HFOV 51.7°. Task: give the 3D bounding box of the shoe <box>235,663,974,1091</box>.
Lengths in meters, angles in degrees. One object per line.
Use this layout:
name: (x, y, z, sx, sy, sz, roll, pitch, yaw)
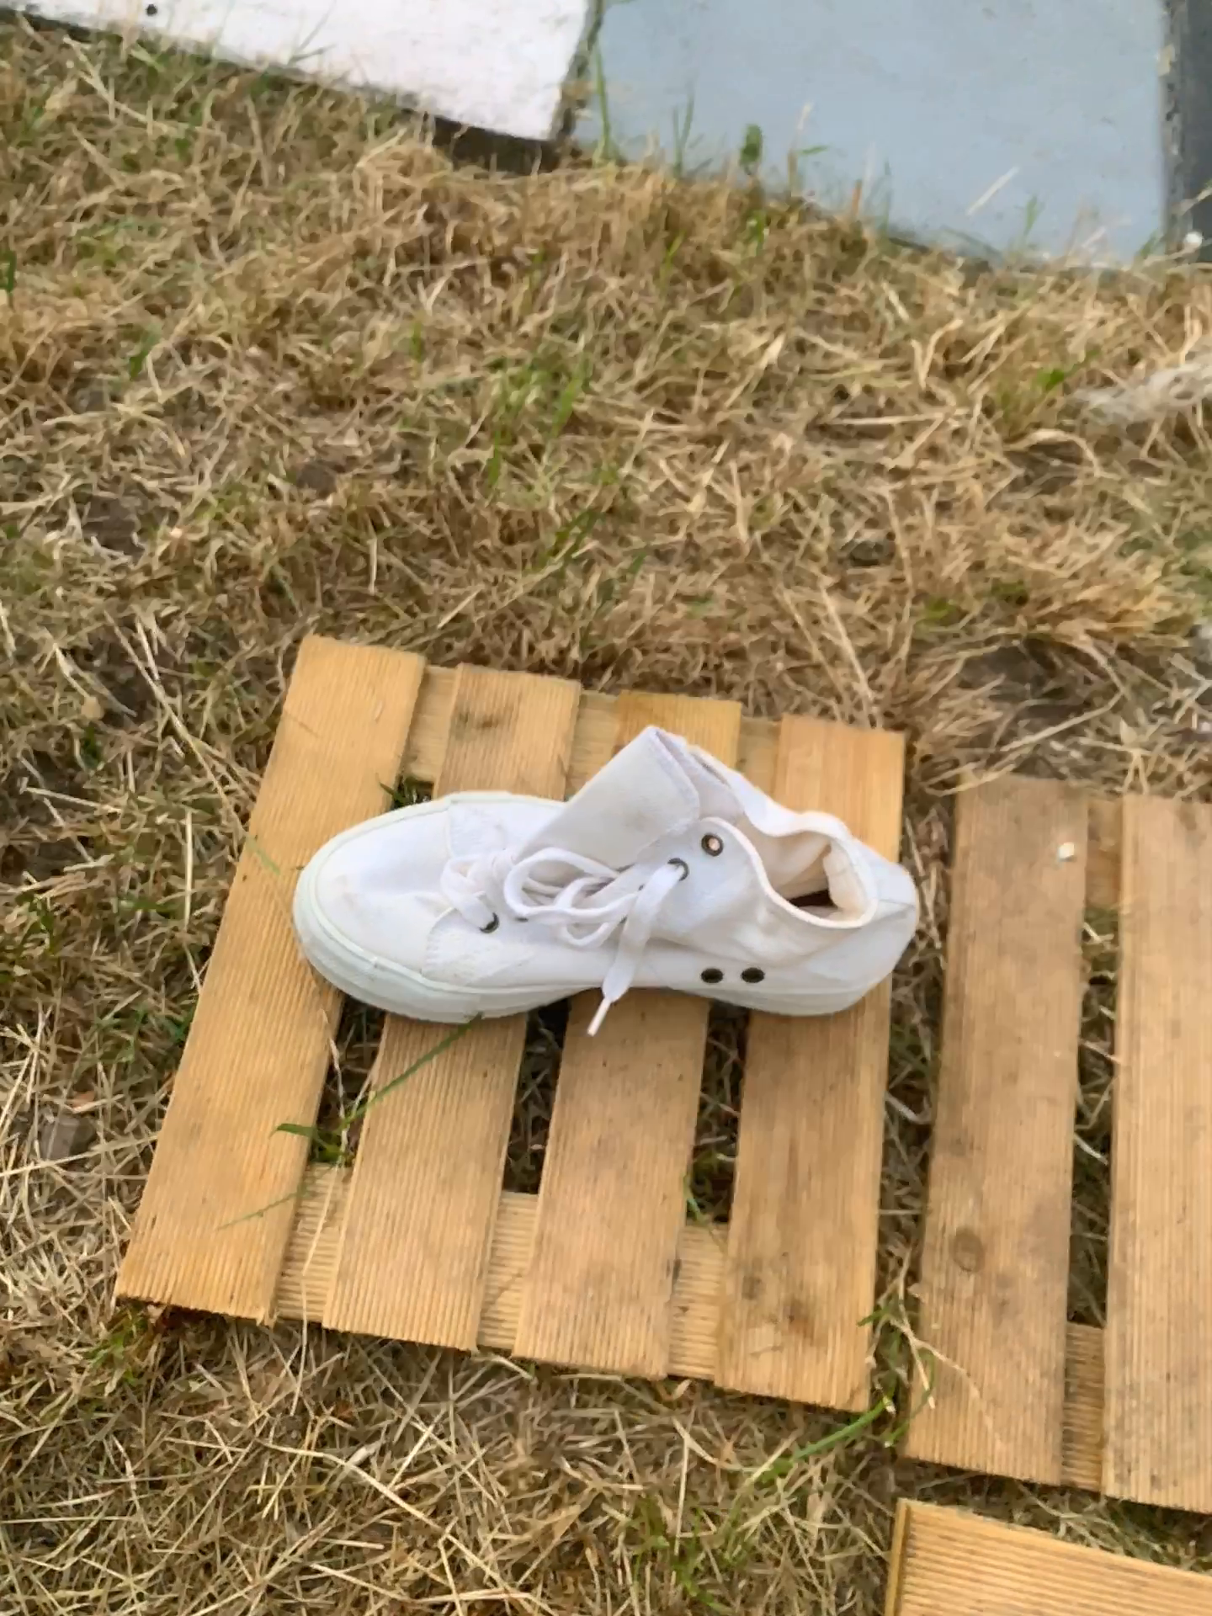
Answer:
shoe: (0.001, 0.035, 0.503, 0.260, 0.109, 0.100, 10, 67, -5)
